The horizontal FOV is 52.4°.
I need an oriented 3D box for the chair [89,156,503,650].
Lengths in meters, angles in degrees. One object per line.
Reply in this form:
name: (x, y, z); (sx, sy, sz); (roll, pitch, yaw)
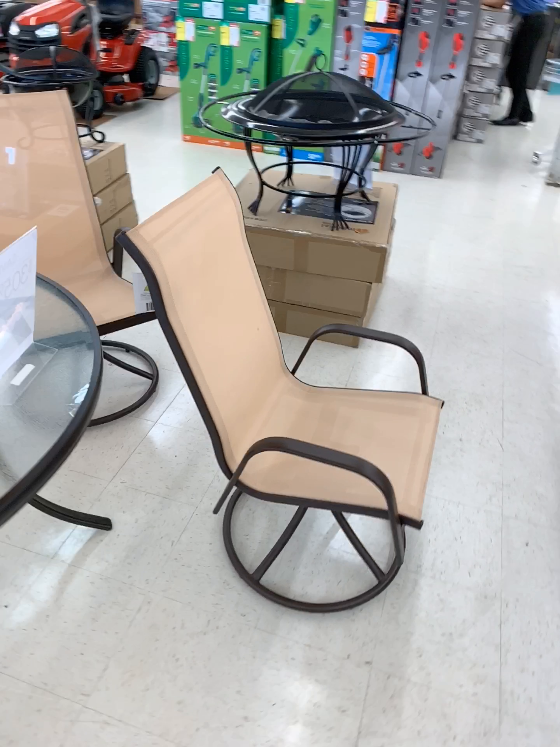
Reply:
chair: (0.061, 0.067, 1.433); (0.707, 0.956, 0.571); (13, 37, 13)

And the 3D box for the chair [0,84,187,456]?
chair: (-0.739, -0.381, 1.944); (0.569, 0.956, 0.710); (-16, 41, -25)
